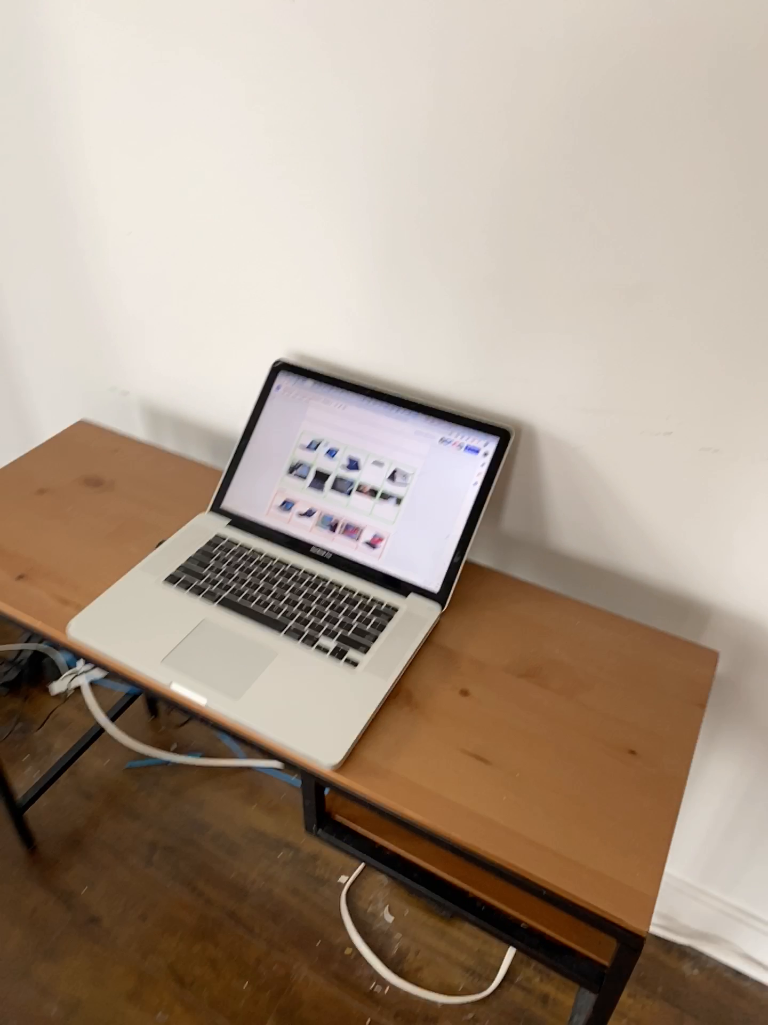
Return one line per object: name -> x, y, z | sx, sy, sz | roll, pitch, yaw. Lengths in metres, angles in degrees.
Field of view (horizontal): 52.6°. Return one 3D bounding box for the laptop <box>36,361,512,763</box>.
laptop -> -0.103, 0.016, 0.958 | 0.368, 0.151, 0.440 | 20, 42, 21
